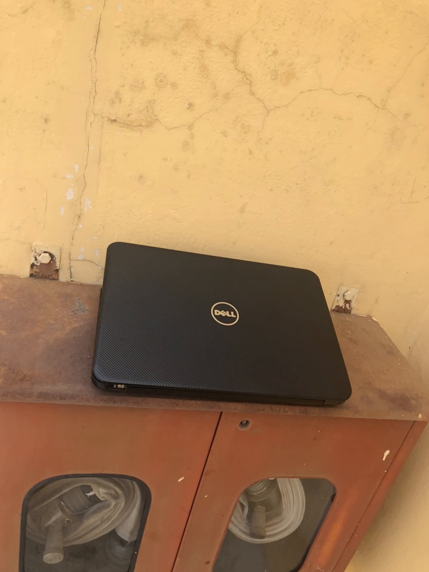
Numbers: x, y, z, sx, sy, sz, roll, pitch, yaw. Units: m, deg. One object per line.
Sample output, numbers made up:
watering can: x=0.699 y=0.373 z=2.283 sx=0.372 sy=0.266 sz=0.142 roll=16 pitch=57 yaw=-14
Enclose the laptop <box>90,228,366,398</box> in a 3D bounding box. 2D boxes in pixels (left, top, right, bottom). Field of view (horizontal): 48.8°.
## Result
laptop: x=0.018 y=0.039 z=0.689 sx=0.353 sy=0.098 sz=0.184 roll=7 pitch=37 yaw=-14
